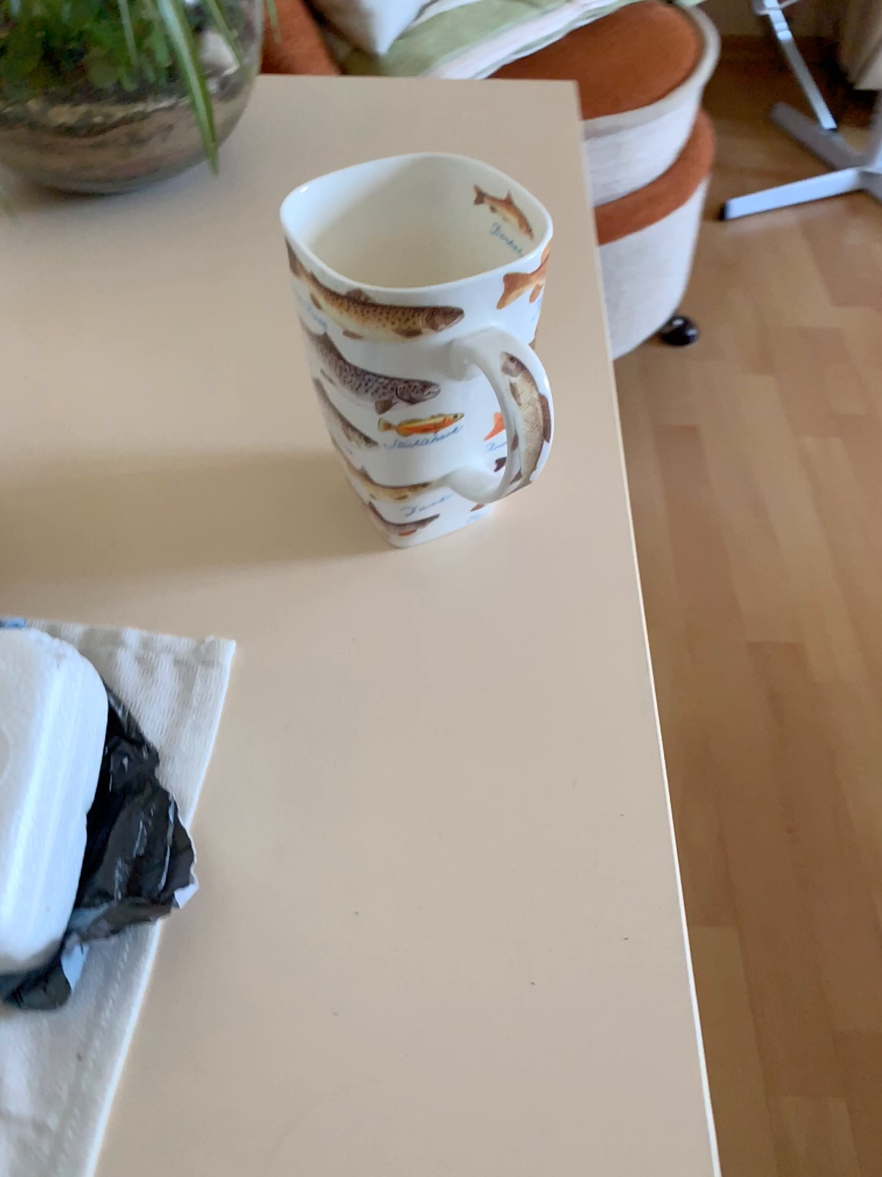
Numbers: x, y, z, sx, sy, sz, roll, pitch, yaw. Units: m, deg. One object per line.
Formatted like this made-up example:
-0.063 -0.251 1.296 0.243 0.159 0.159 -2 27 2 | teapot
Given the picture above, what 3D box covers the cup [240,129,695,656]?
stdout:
0.003 -0.077 0.349 0.092 0.122 0.139 -25 54 -20 | cup
